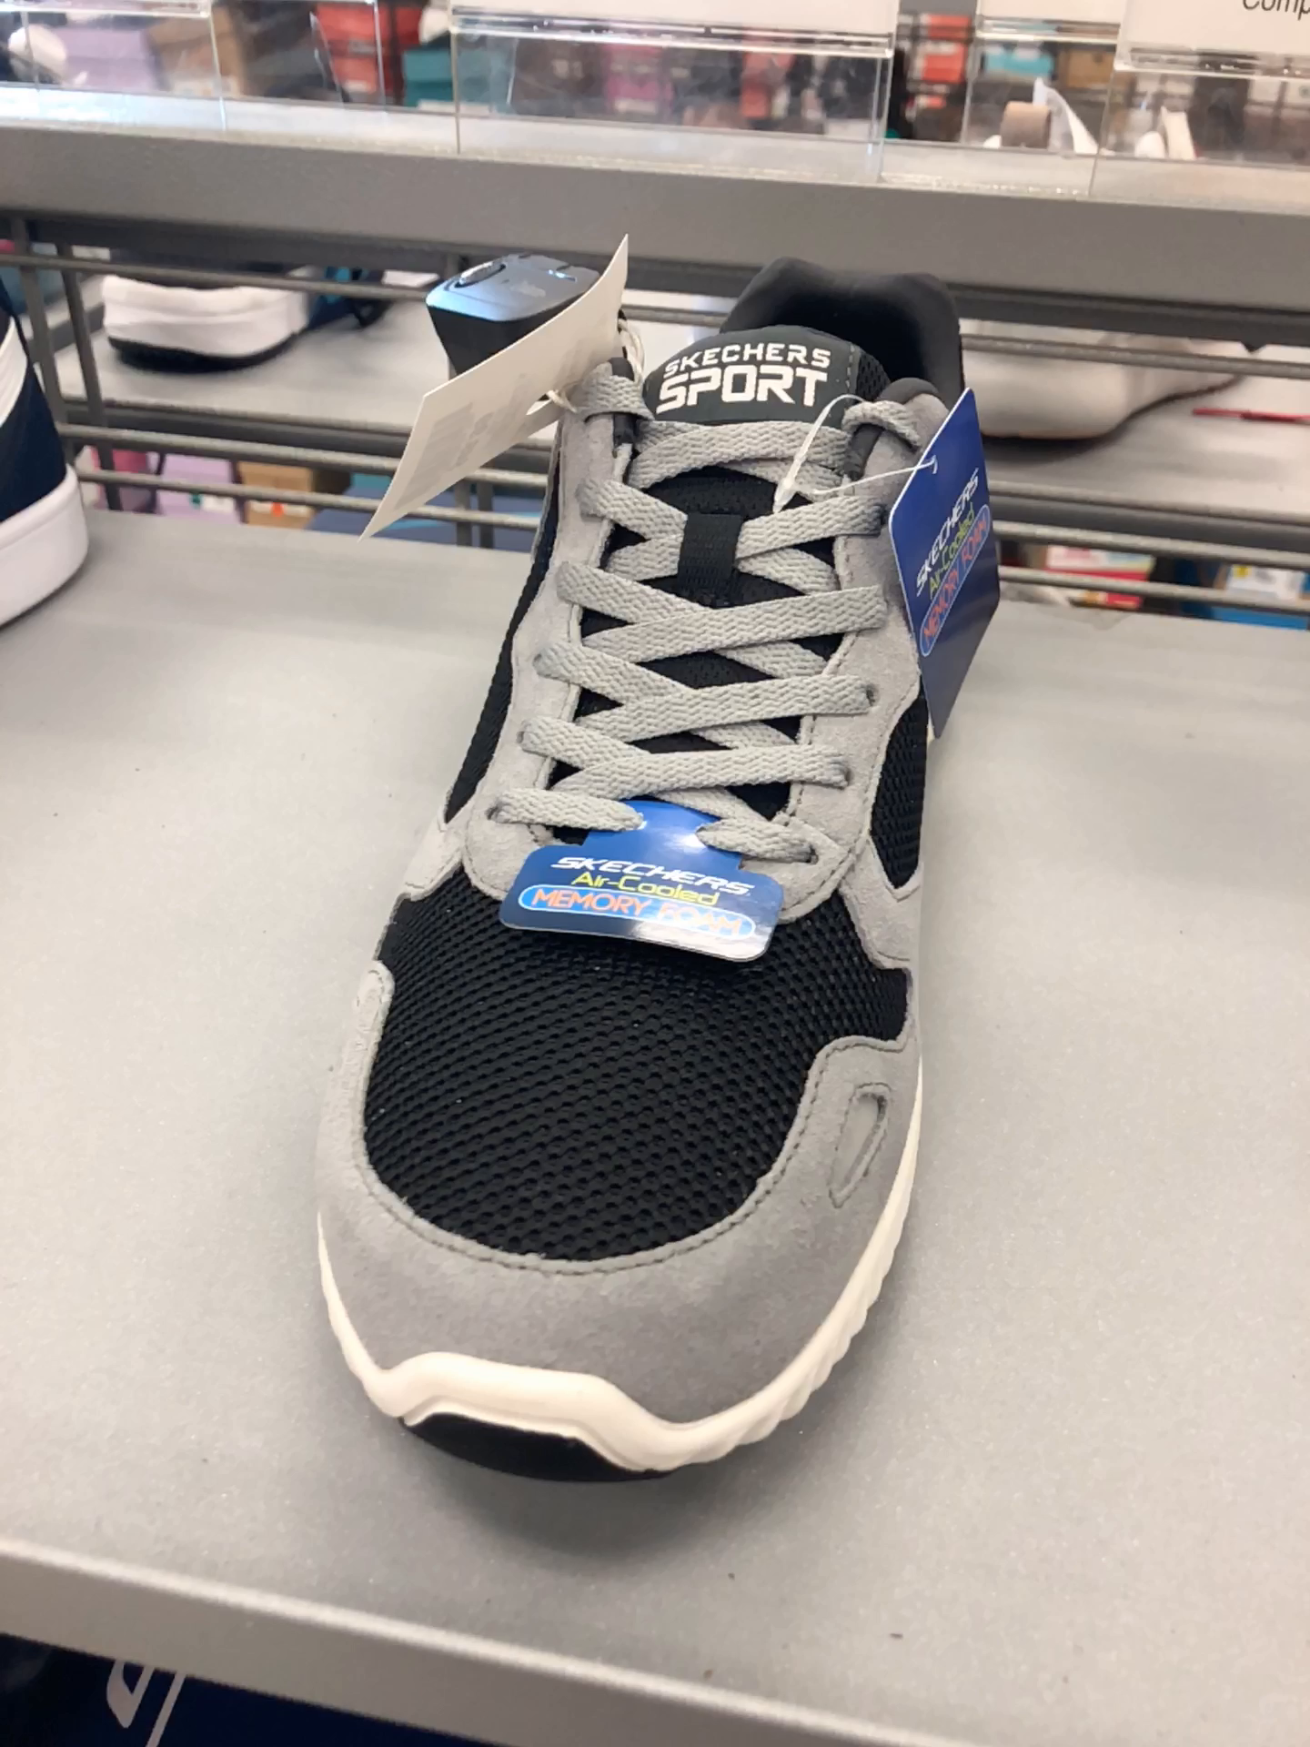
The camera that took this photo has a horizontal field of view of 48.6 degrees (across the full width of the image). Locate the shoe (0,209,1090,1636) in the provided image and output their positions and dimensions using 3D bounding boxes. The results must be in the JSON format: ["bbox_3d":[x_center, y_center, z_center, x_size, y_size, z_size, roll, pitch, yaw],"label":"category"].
[{"bbox_3d":[0.011,-0.037,0.300,0.120,0.119,0.302,11,37,11],"label":"shoe"}]
